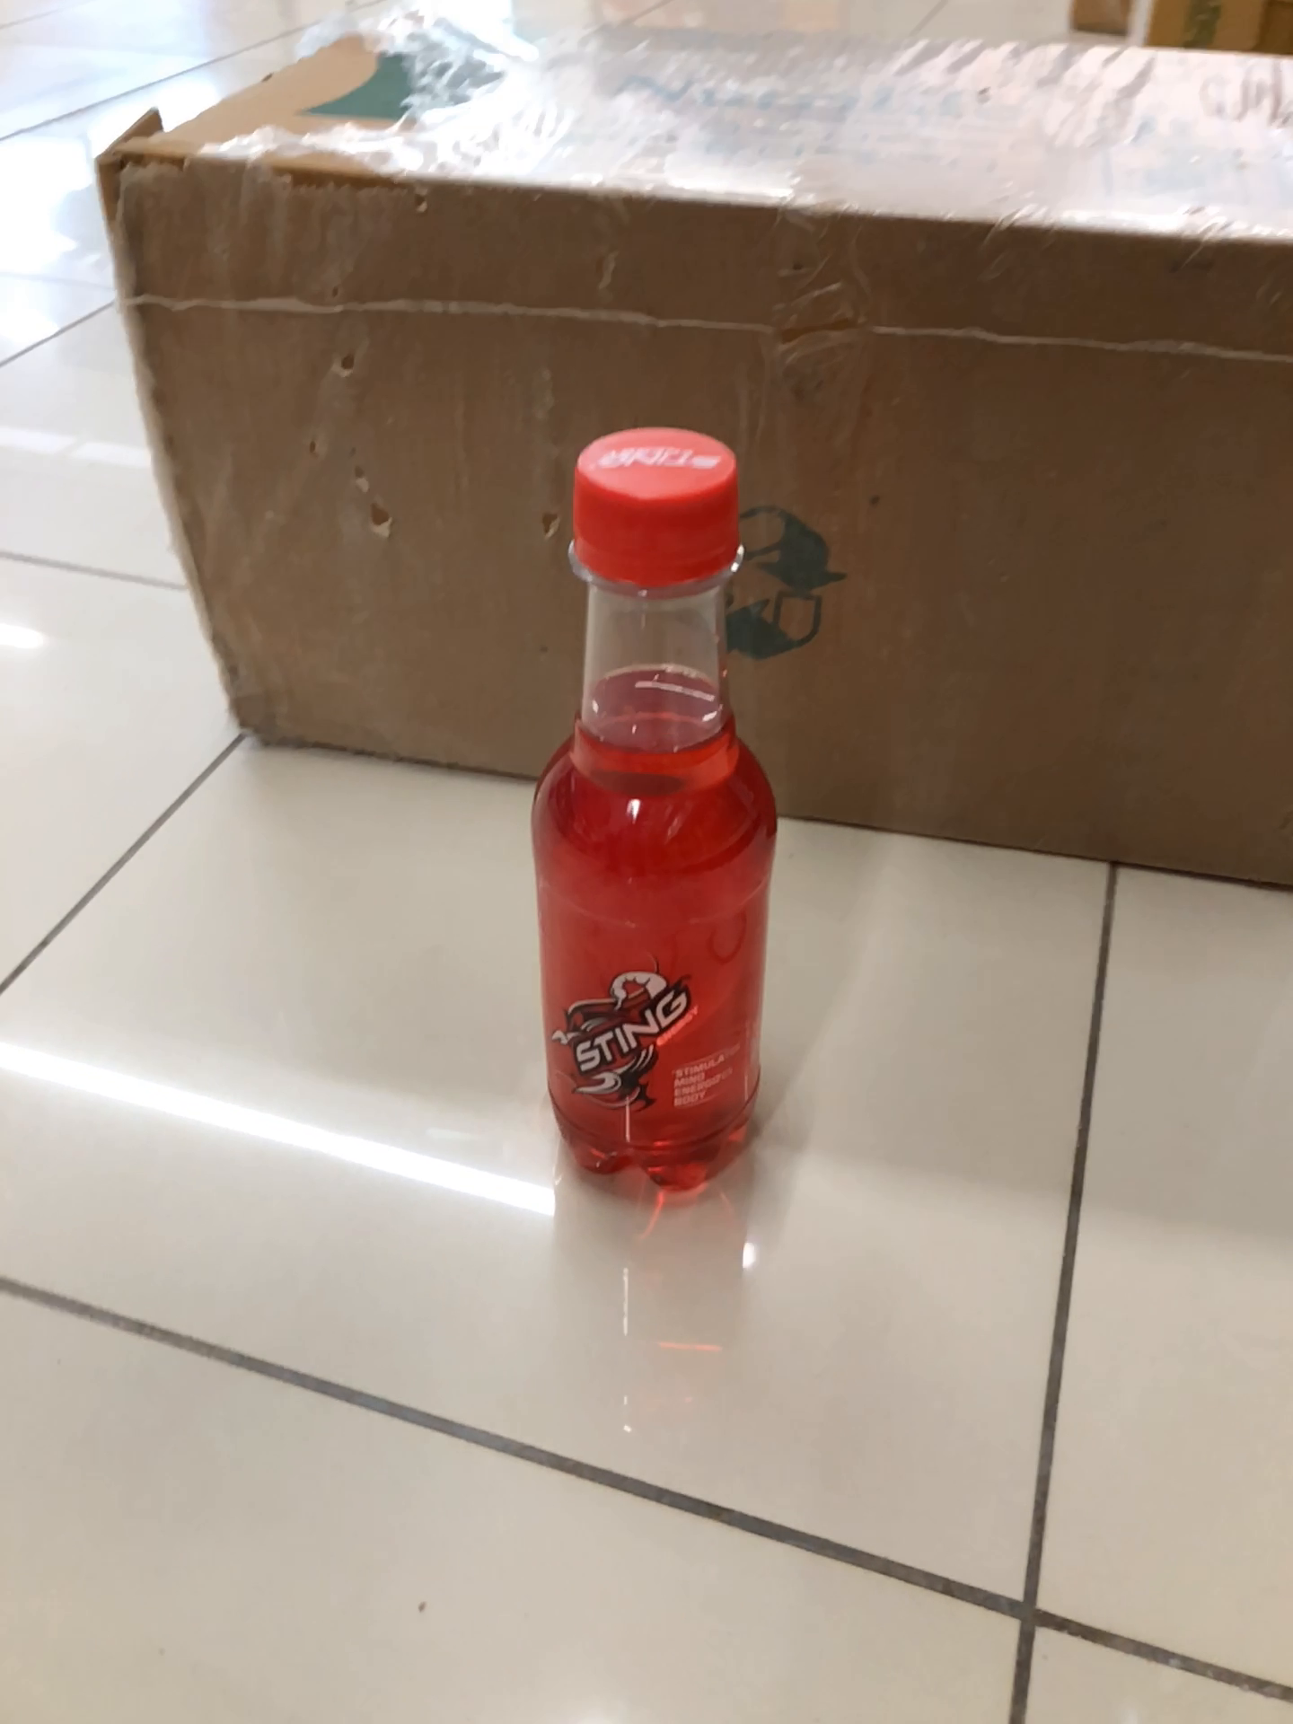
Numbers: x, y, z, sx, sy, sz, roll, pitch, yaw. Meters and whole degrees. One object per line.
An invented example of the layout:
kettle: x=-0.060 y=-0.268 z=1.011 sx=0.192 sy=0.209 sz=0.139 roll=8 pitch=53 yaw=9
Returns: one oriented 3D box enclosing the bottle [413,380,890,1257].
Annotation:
bottle: x=0.004 y=-0.004 z=0.322 sx=0.070 sy=0.179 sz=0.071 roll=0 pitch=38 yaw=0
